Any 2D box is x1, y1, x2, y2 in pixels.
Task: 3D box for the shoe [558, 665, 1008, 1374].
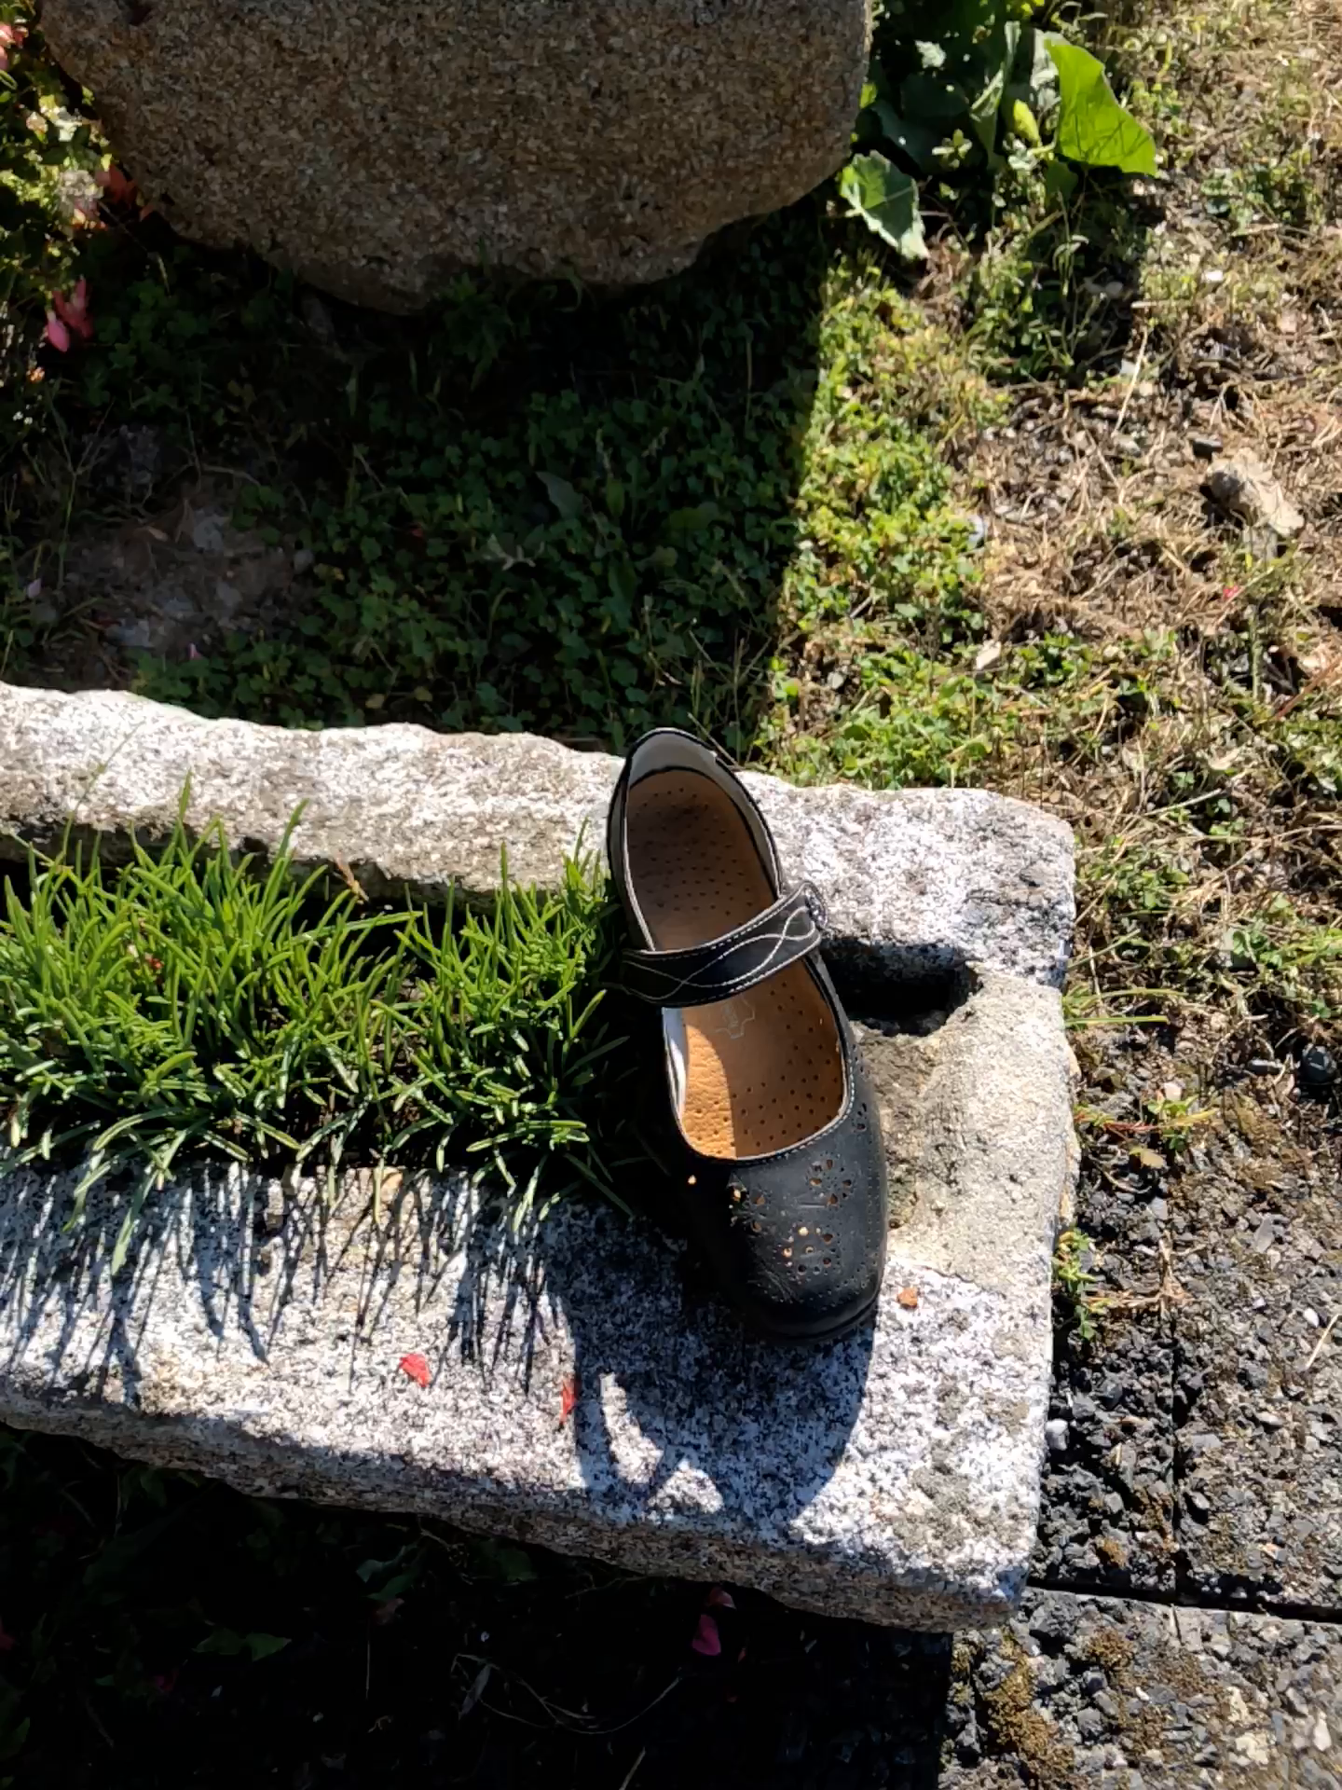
[{"bbox_3d":[0.036,0.043,0.597,0.100,0.100,0.251,-14,58,-4],"label":"shoe"}]
